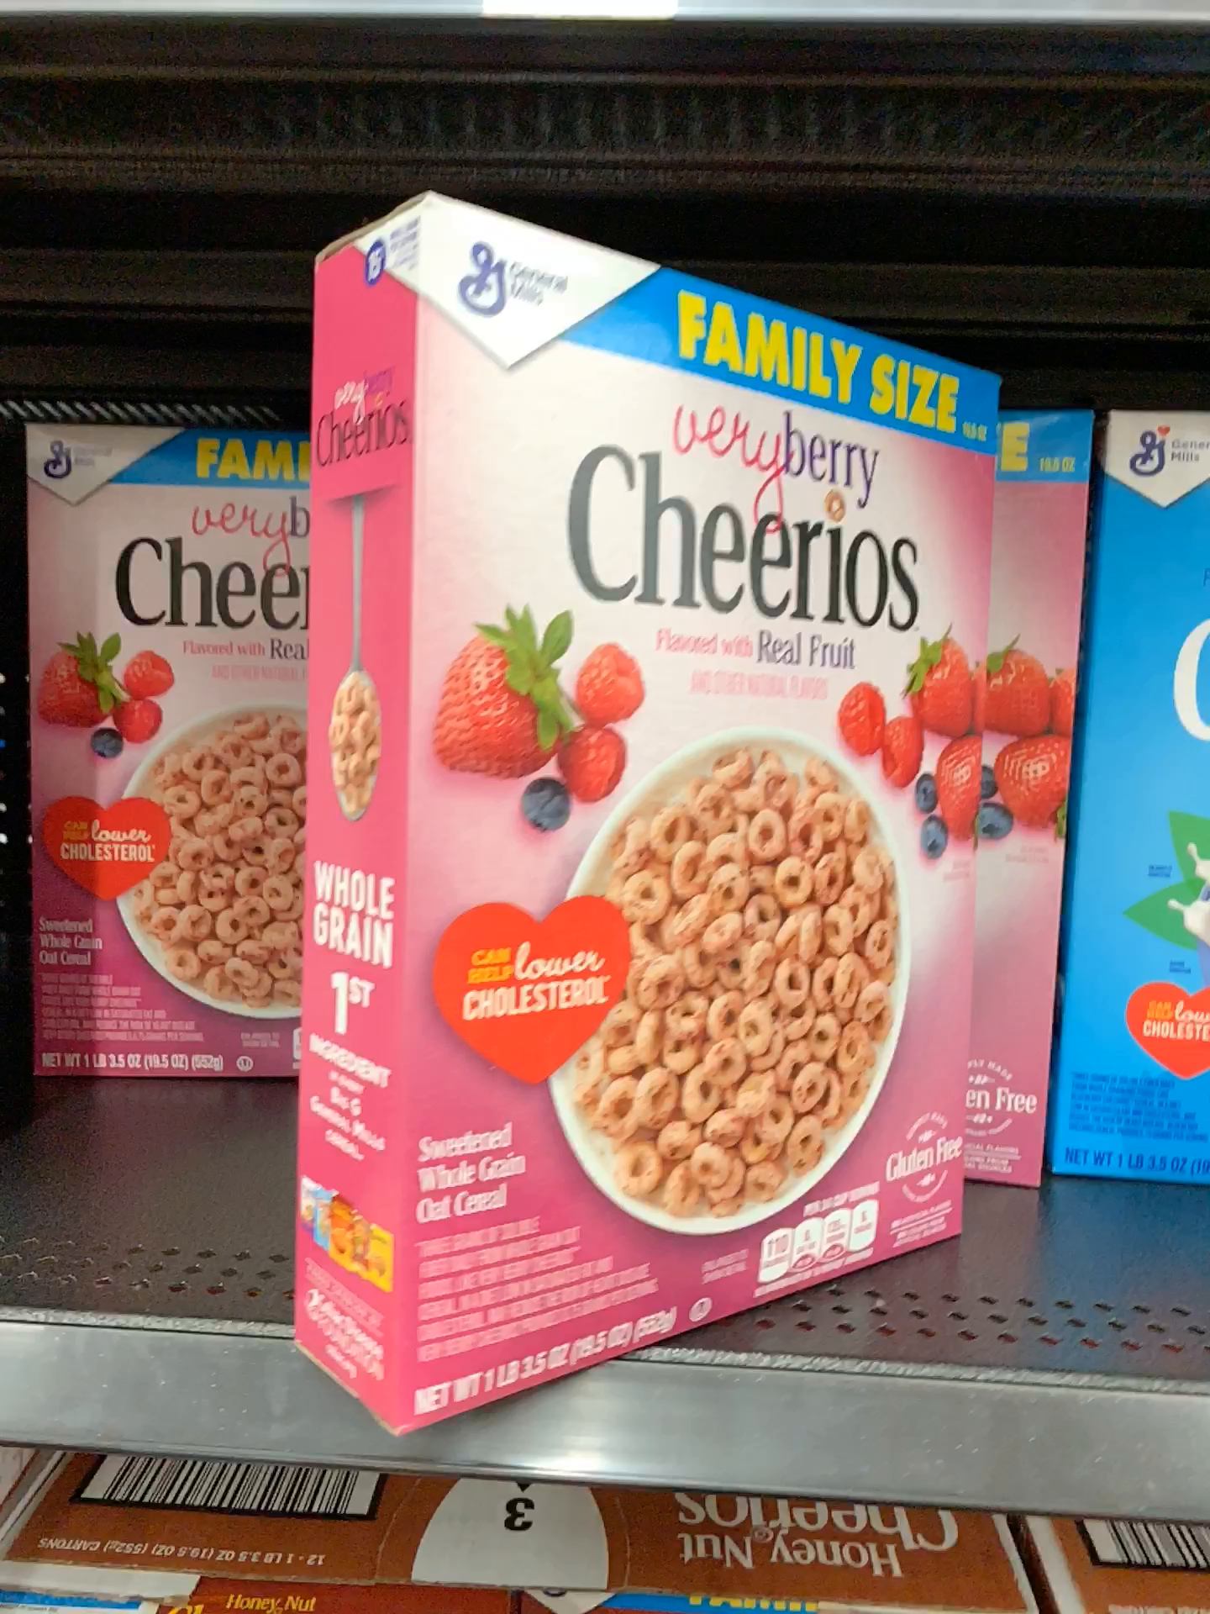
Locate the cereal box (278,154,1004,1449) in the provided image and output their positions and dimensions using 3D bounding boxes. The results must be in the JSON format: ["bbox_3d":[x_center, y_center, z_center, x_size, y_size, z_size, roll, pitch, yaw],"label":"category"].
[{"bbox_3d":[0.023,-0.001,0.405,0.240,0.320,0.060,-1,4,-37],"label":"cereal box"}]
